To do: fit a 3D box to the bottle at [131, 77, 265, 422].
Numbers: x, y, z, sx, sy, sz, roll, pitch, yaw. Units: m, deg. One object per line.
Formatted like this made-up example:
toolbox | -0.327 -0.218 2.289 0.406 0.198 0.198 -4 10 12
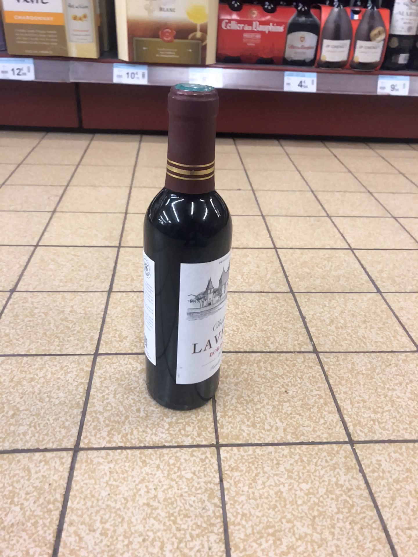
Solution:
bottle | -0.008 -0.011 0.313 0.060 0.219 0.070 9 32 9
